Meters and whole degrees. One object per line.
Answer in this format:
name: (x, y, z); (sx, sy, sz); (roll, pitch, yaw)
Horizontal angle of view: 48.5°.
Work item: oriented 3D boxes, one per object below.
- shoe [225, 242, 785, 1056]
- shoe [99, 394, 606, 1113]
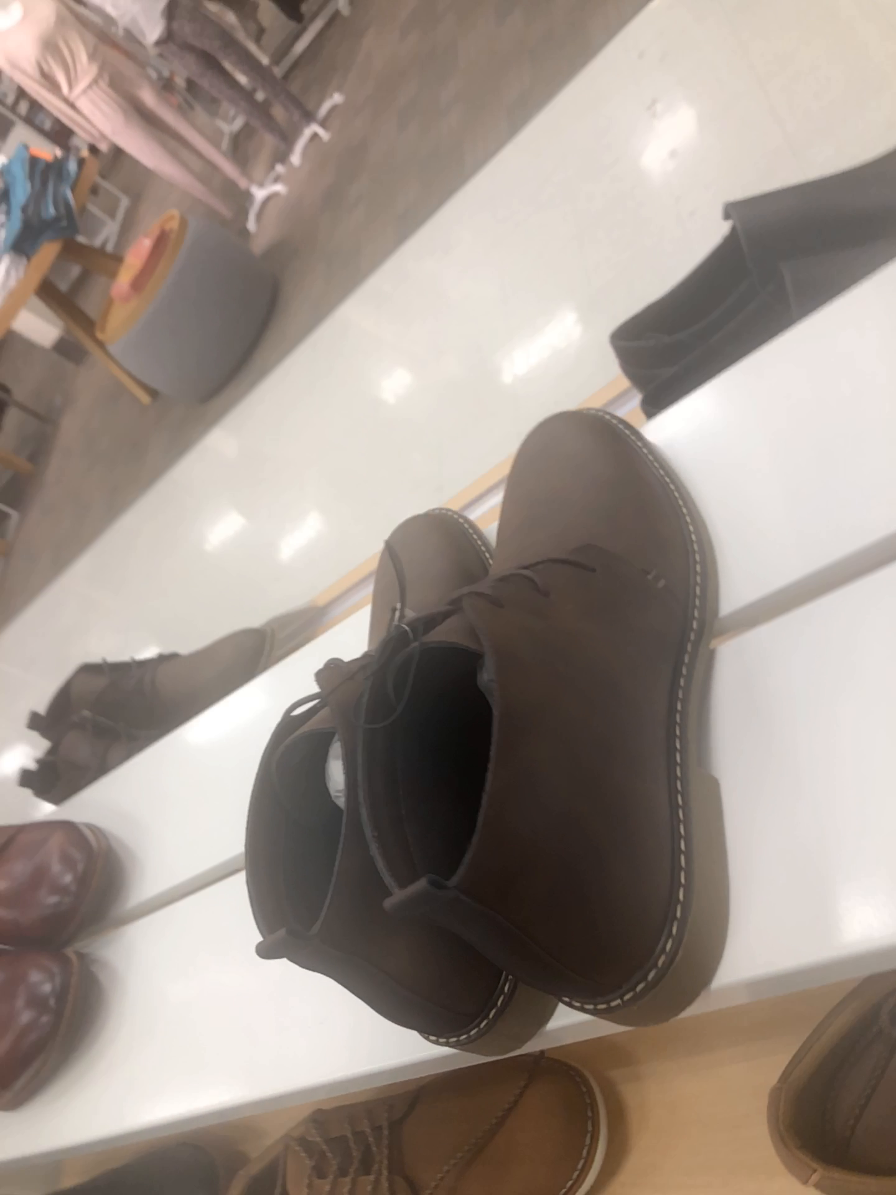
shoe: (0.031, 0.024, 0.467); (0.132, 0.172, 0.315); (-27, 46, 36)
shoe: (-0.052, 0.073, 0.528); (0.128, 0.172, 0.315); (-36, 41, 27)
